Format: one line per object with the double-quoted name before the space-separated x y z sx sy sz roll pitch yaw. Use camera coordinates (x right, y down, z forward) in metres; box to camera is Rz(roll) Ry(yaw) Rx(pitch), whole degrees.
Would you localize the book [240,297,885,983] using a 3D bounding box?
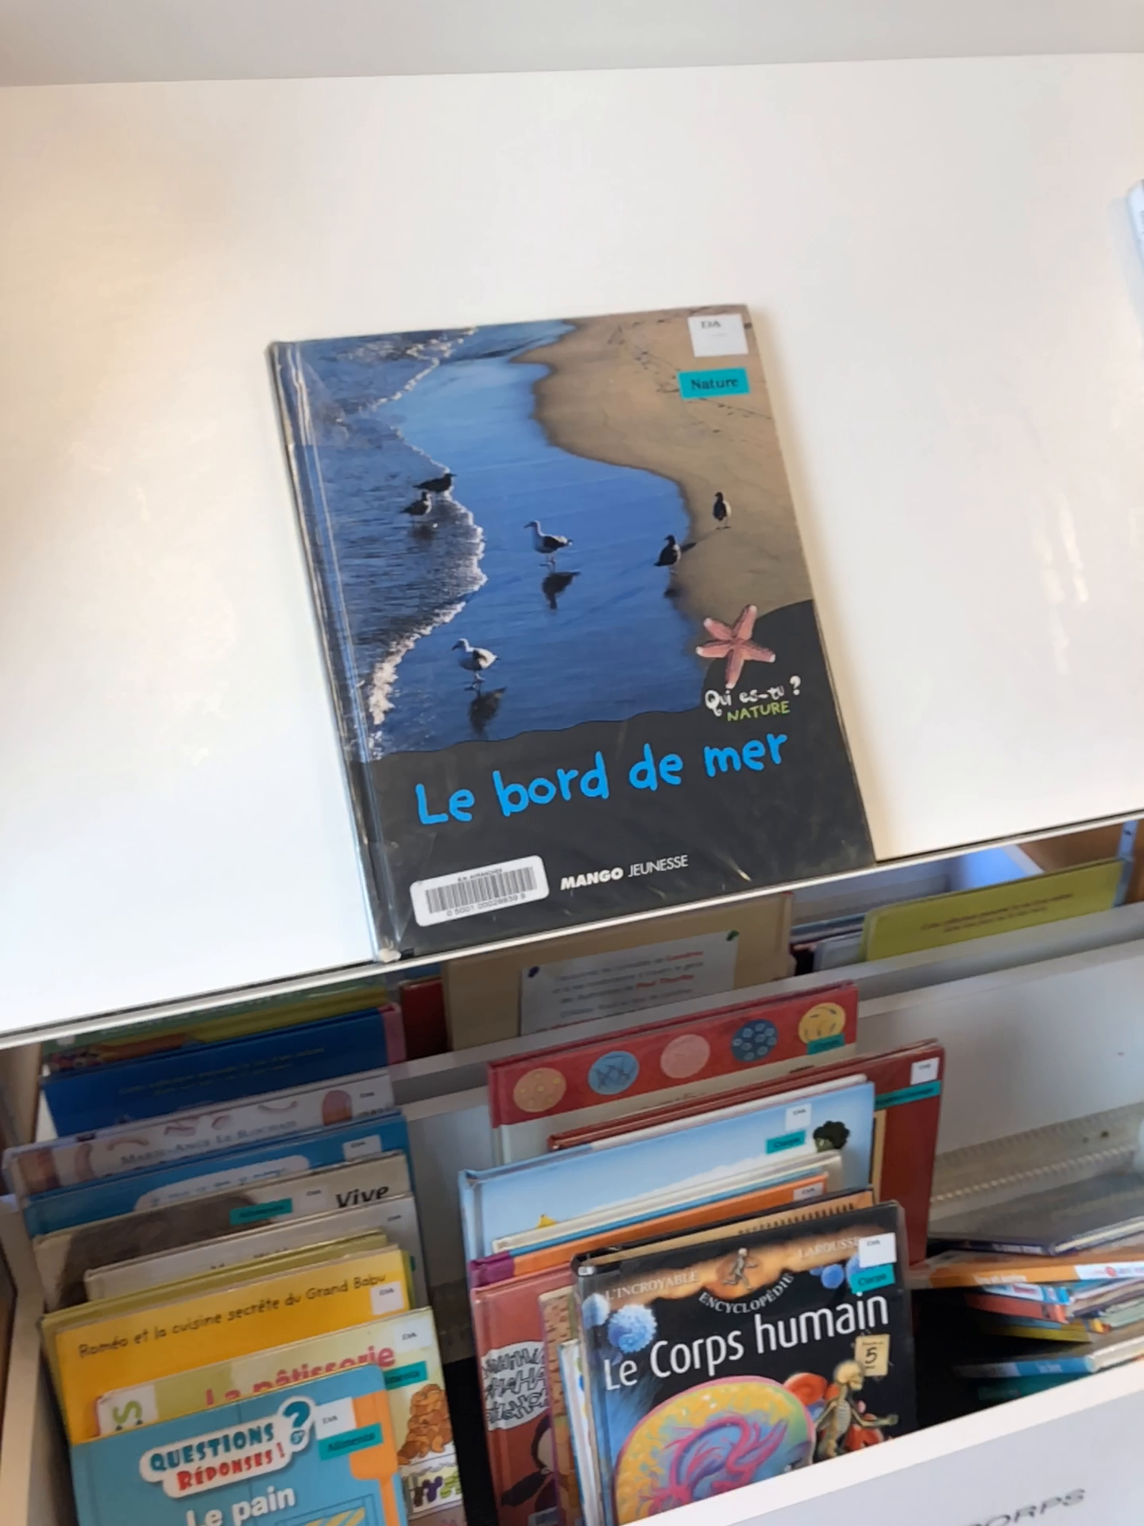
"book" -0.004 -0.057 0.496 0.209 0.245 0.020 -9 -8 -14
